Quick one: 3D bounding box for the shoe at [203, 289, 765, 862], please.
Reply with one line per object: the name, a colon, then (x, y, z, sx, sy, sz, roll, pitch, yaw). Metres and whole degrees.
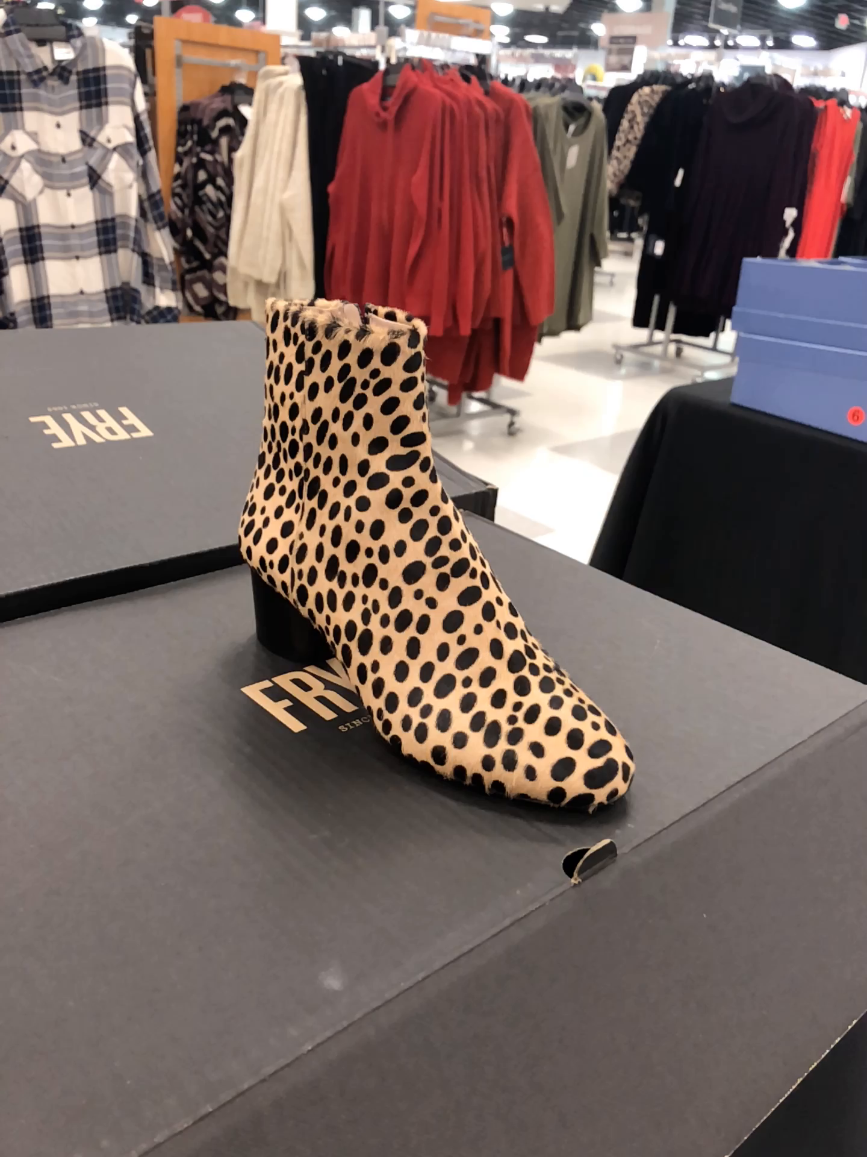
shoe: (-0.002, -0.025, 0.435, 0.093, 0.164, 0.249, -15, 32, -38)
